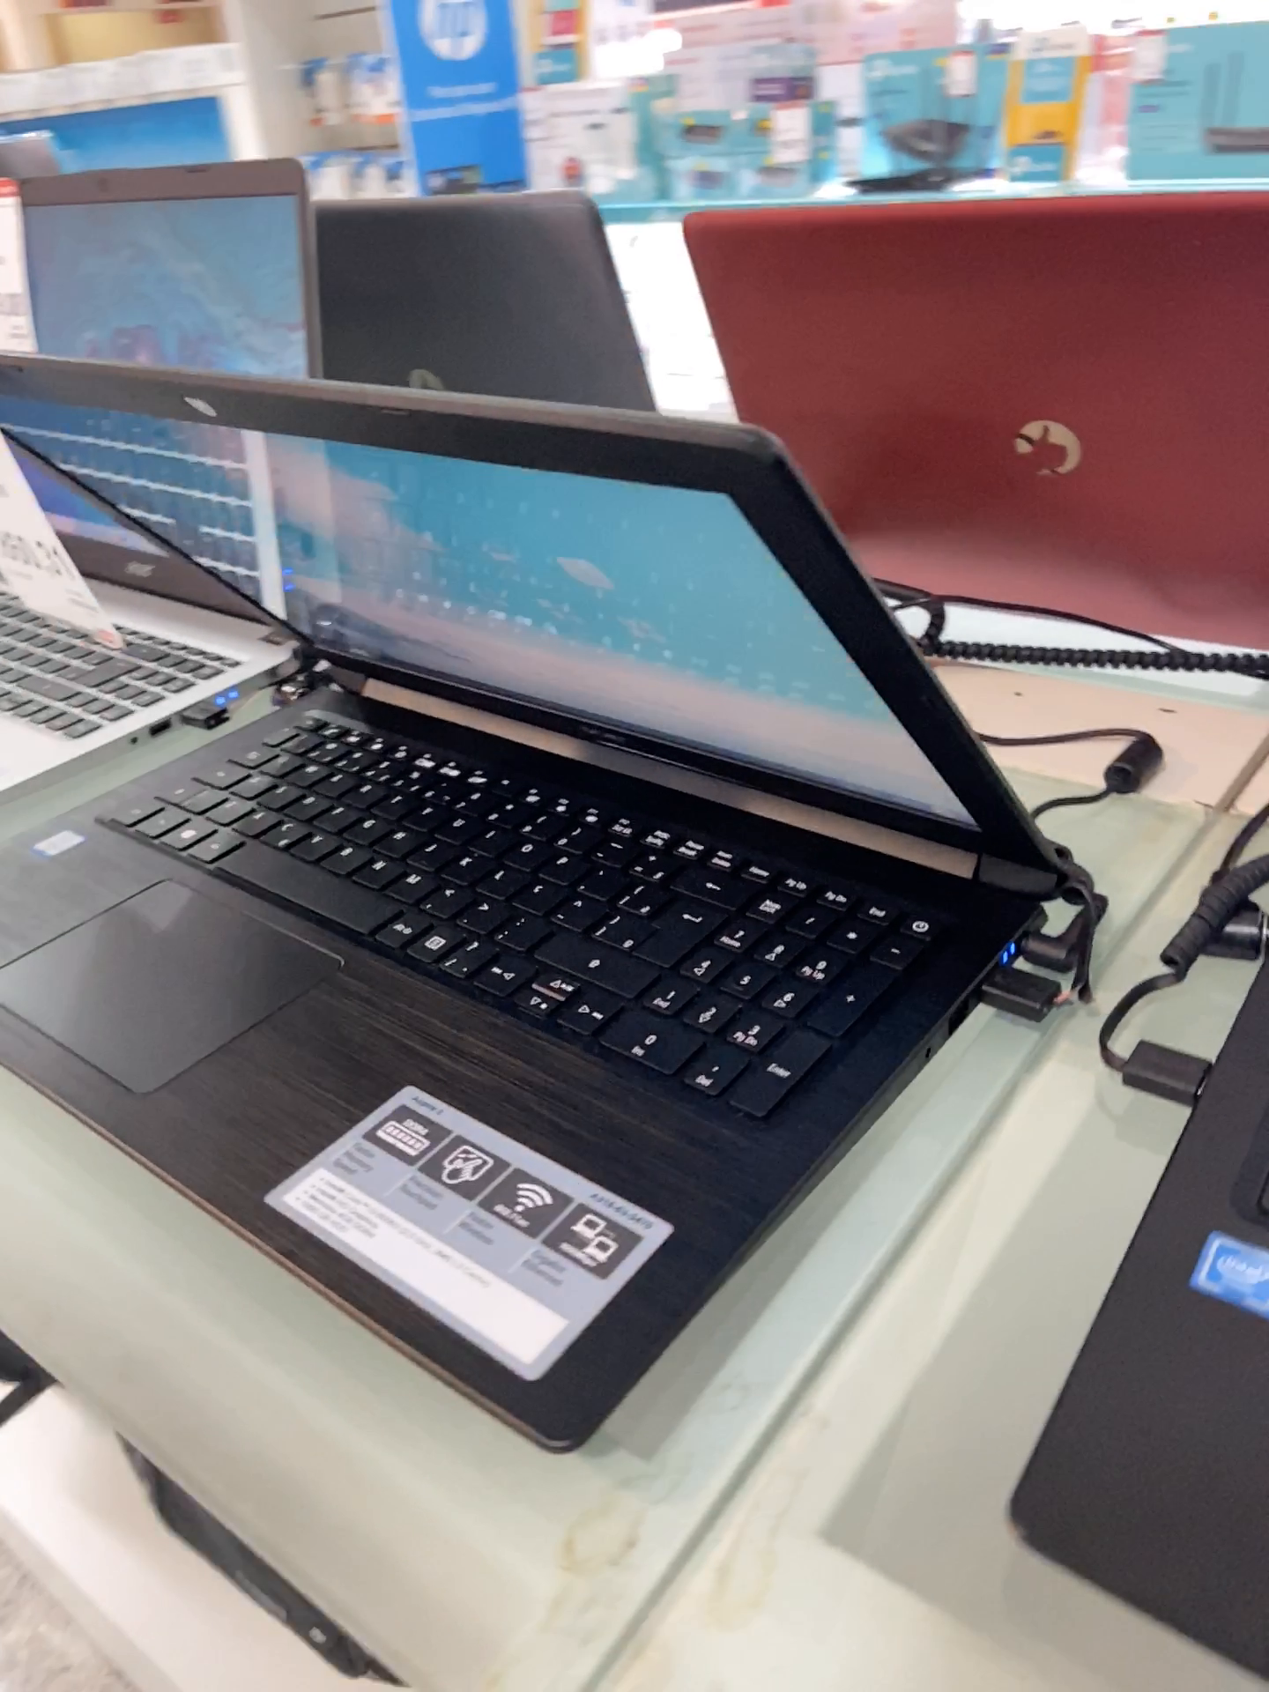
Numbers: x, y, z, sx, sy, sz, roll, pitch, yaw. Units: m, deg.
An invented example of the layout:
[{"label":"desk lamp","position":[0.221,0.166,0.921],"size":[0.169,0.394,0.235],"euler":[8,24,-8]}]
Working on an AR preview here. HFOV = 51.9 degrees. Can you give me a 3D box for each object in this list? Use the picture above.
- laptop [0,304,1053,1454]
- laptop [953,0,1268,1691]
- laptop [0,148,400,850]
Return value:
[{"label":"laptop","position":[-0.098,-0.051,0.421],"size":[0.374,0.186,0.234],"euler":[18,38,36]},{"label":"laptop","position":[0.317,0.006,0.174],"size":[0.431,0.245,0.286],"euler":[15,37,32]},{"label":"laptop","position":[-0.392,-0.216,0.712],"size":[0.396,0.233,0.303],"euler":[18,38,37]}]
